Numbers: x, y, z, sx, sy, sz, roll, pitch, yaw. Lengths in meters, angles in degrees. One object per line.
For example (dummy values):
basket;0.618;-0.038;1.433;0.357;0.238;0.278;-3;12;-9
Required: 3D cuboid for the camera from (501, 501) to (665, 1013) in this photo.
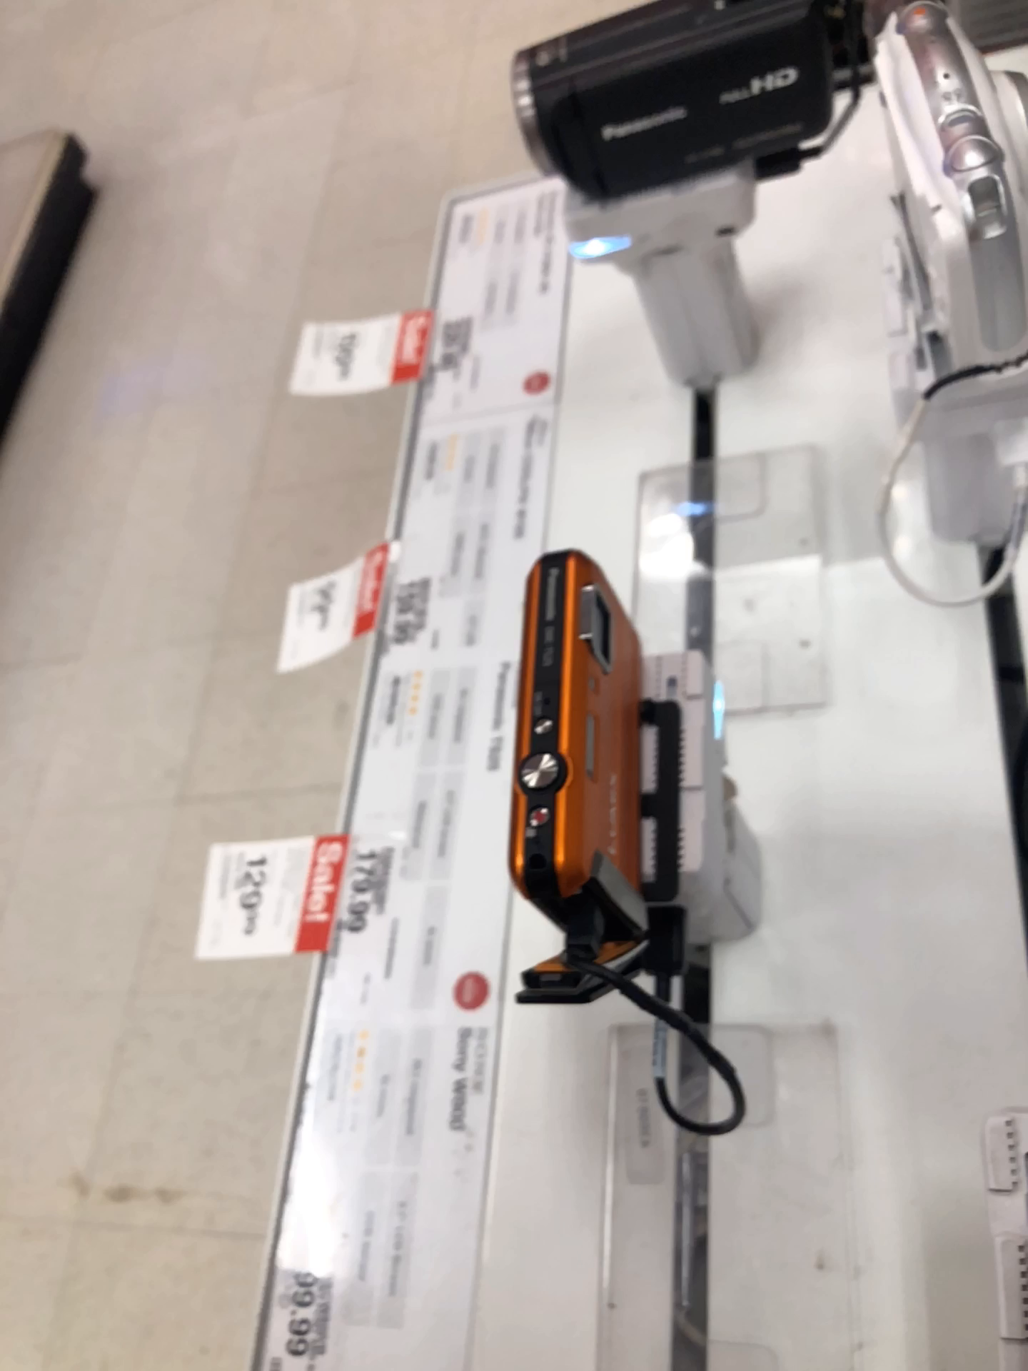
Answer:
camera;0.022;0.019;0.306;0.020;0.060;0.120;-7;59;21
